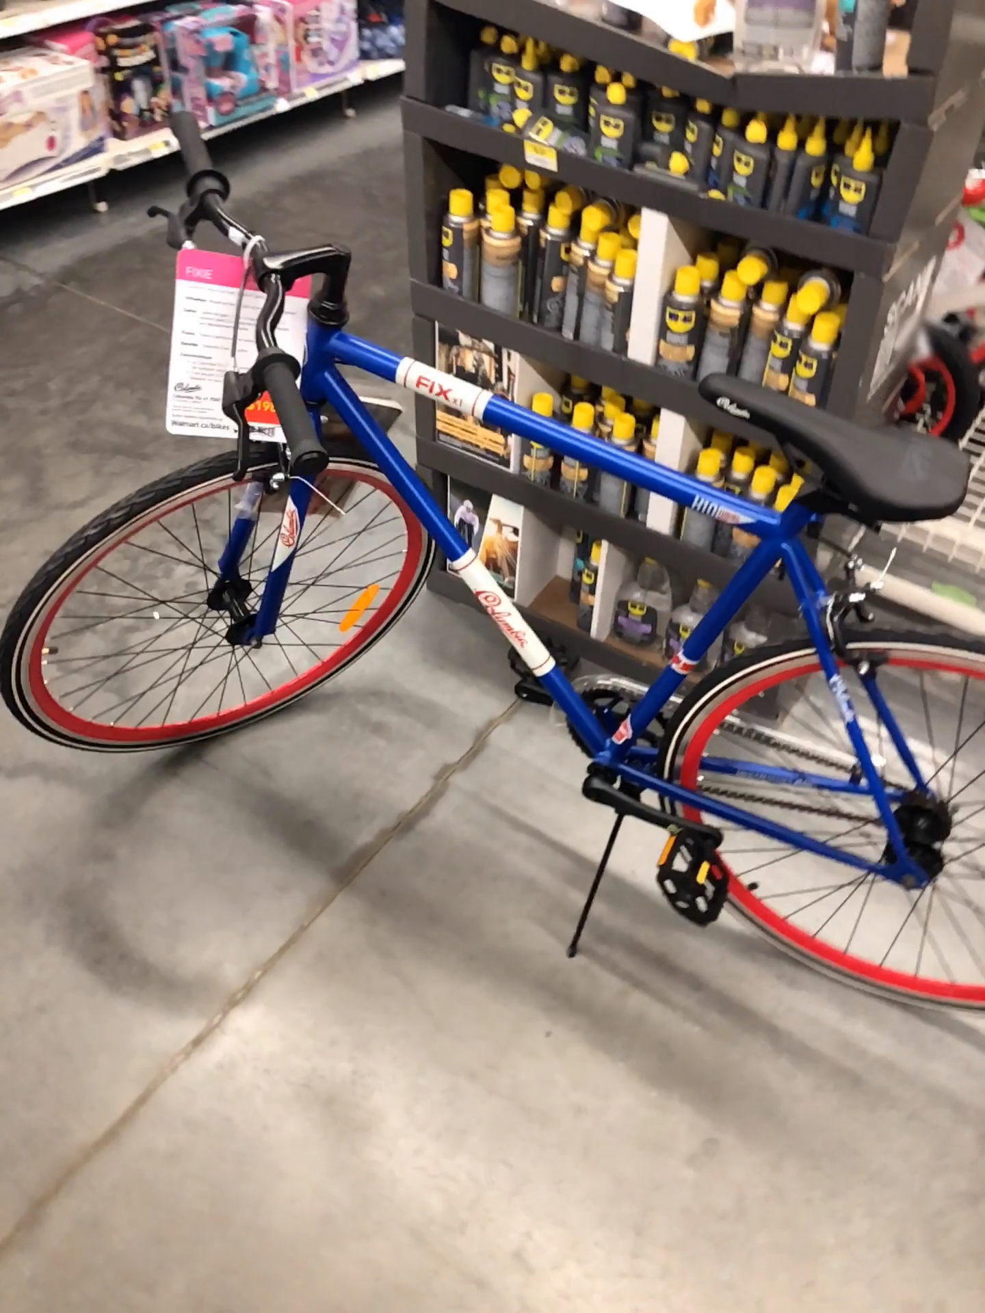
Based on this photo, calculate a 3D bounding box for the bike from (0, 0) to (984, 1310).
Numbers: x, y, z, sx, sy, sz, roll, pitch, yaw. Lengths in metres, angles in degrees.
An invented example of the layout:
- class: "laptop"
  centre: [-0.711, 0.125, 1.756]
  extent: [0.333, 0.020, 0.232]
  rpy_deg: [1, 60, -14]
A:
- class: "bike"
  centre: [0.098, 0.036, 1.171]
  extent: [1.490, 0.937, 0.605]
  rpy_deg: [15, 45, 6]
